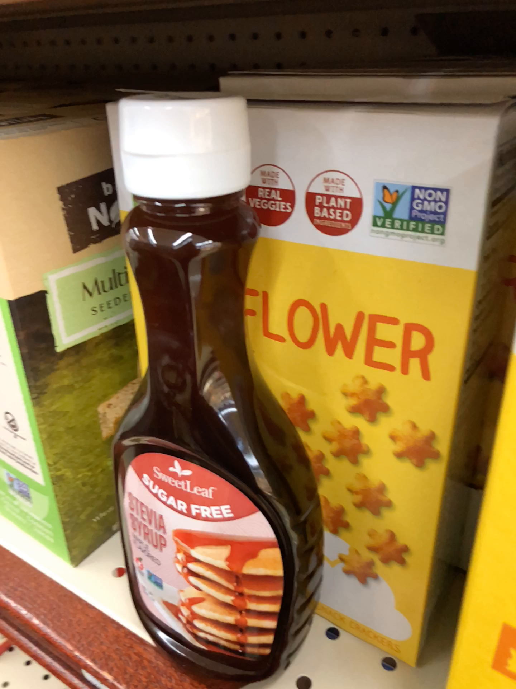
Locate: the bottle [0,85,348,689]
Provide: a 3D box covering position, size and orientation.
[{"bbox_3d":[-0.026,0.030,0.195,0.092,0.211,0.051,12,31,26],"label":"bottle"}]
